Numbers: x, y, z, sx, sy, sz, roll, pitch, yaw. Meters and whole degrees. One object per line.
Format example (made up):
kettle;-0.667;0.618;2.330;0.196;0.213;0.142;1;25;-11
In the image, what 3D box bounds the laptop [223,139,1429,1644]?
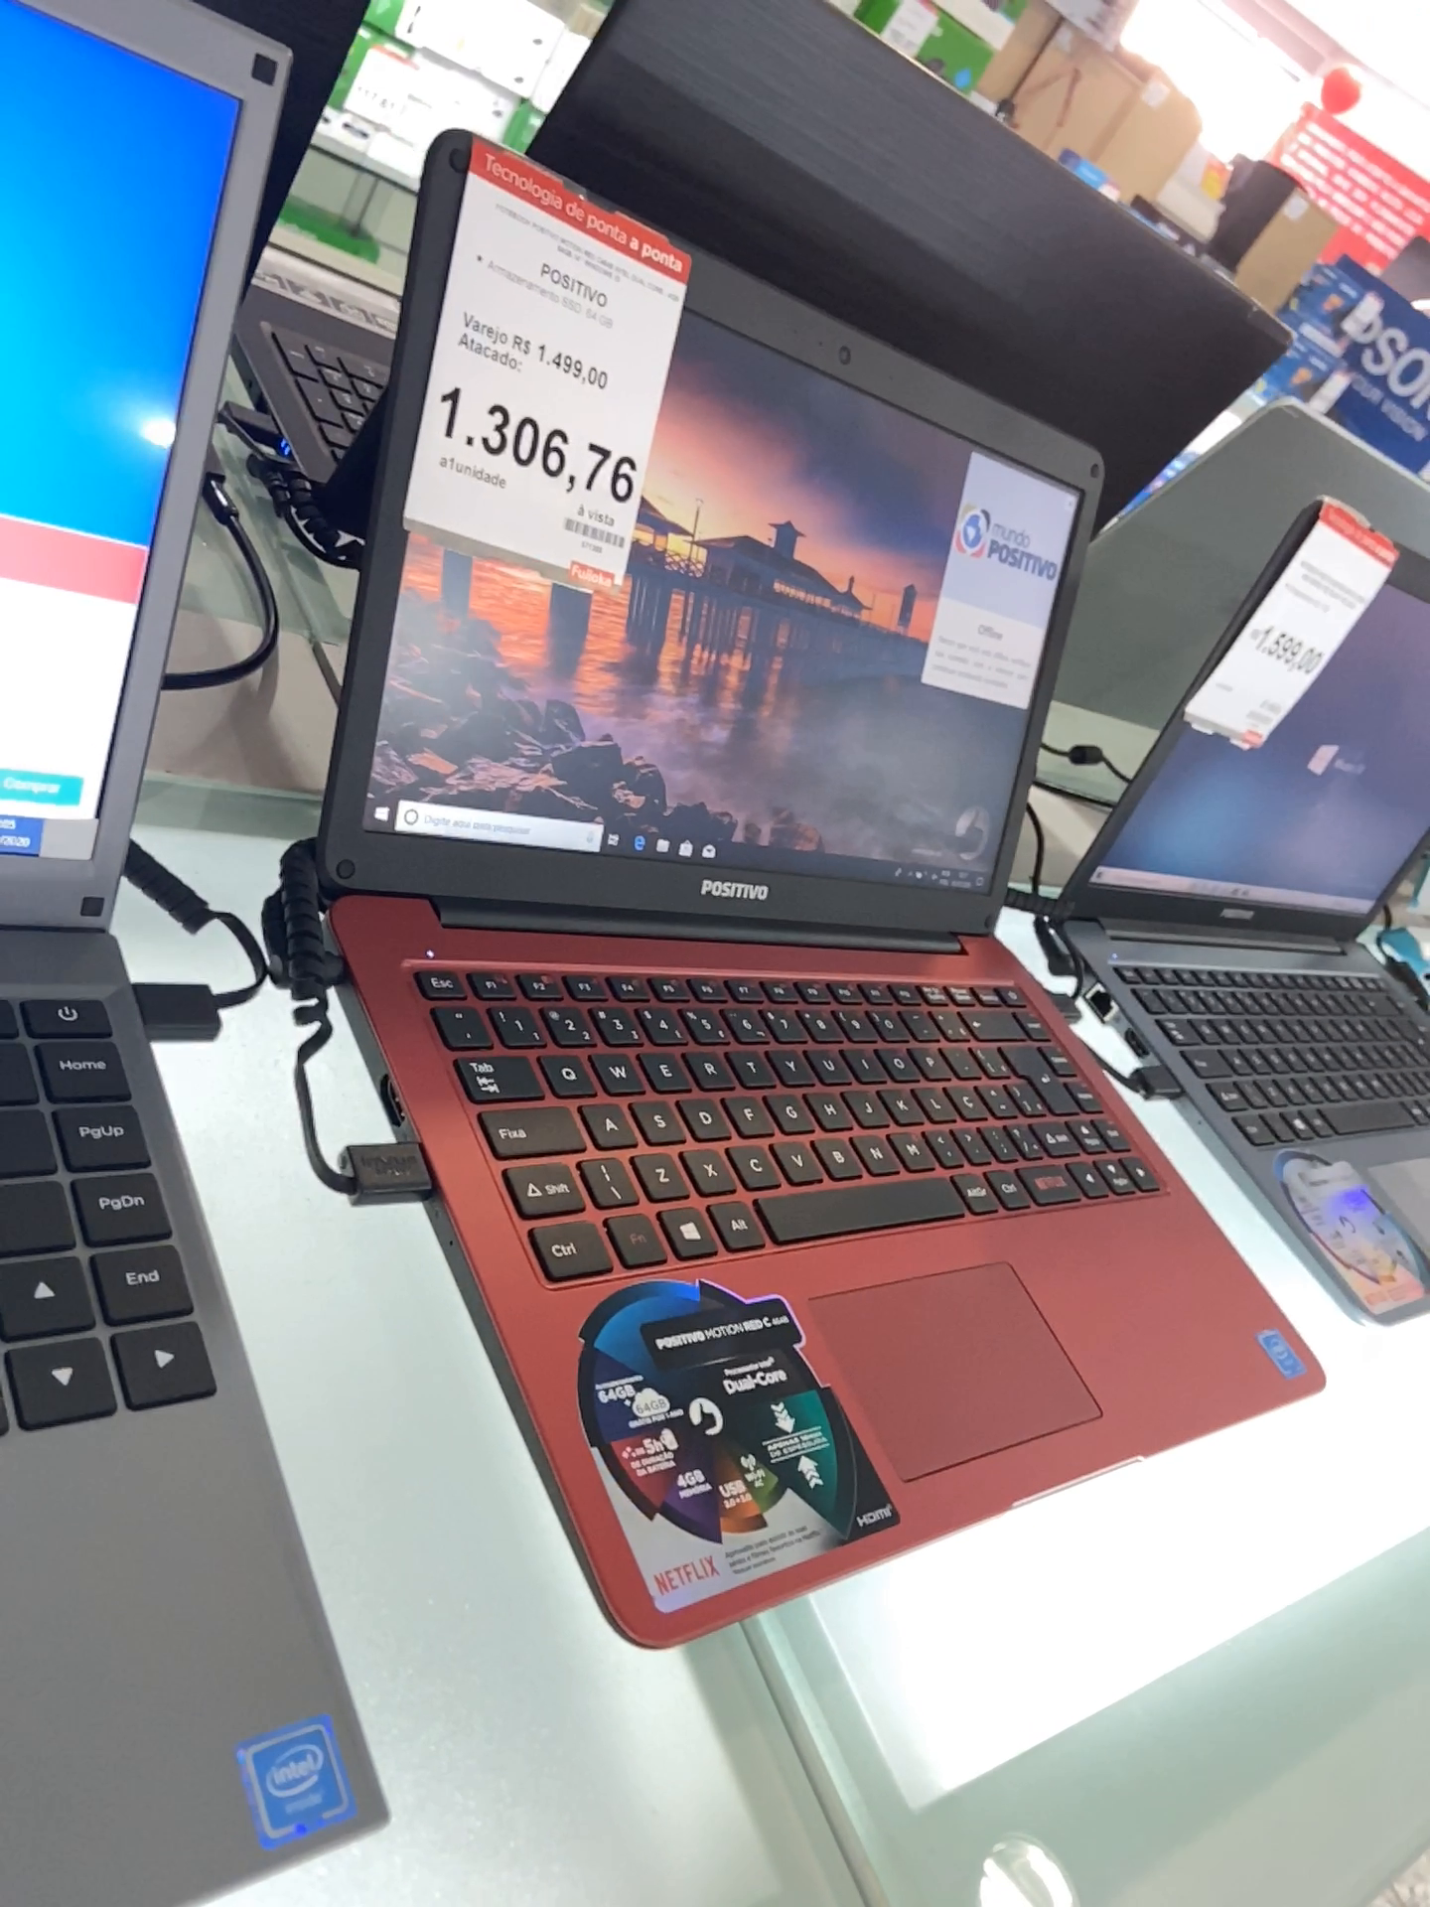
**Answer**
laptop;0.074;-0.031;0.457;0.321;0.167;0.334;4;44;-43
